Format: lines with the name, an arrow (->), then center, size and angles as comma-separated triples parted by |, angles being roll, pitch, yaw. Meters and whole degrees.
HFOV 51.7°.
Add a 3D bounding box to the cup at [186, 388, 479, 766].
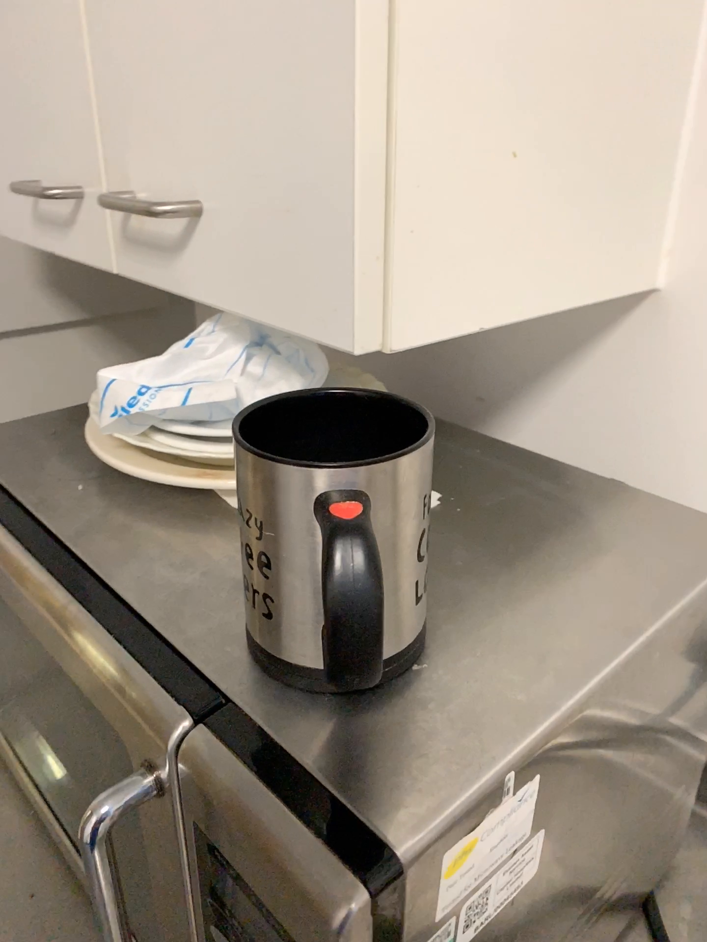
cup -> -0.008, 0.036, 0.321 | 0.096, 0.108, 0.134 | 0, 24, -1
